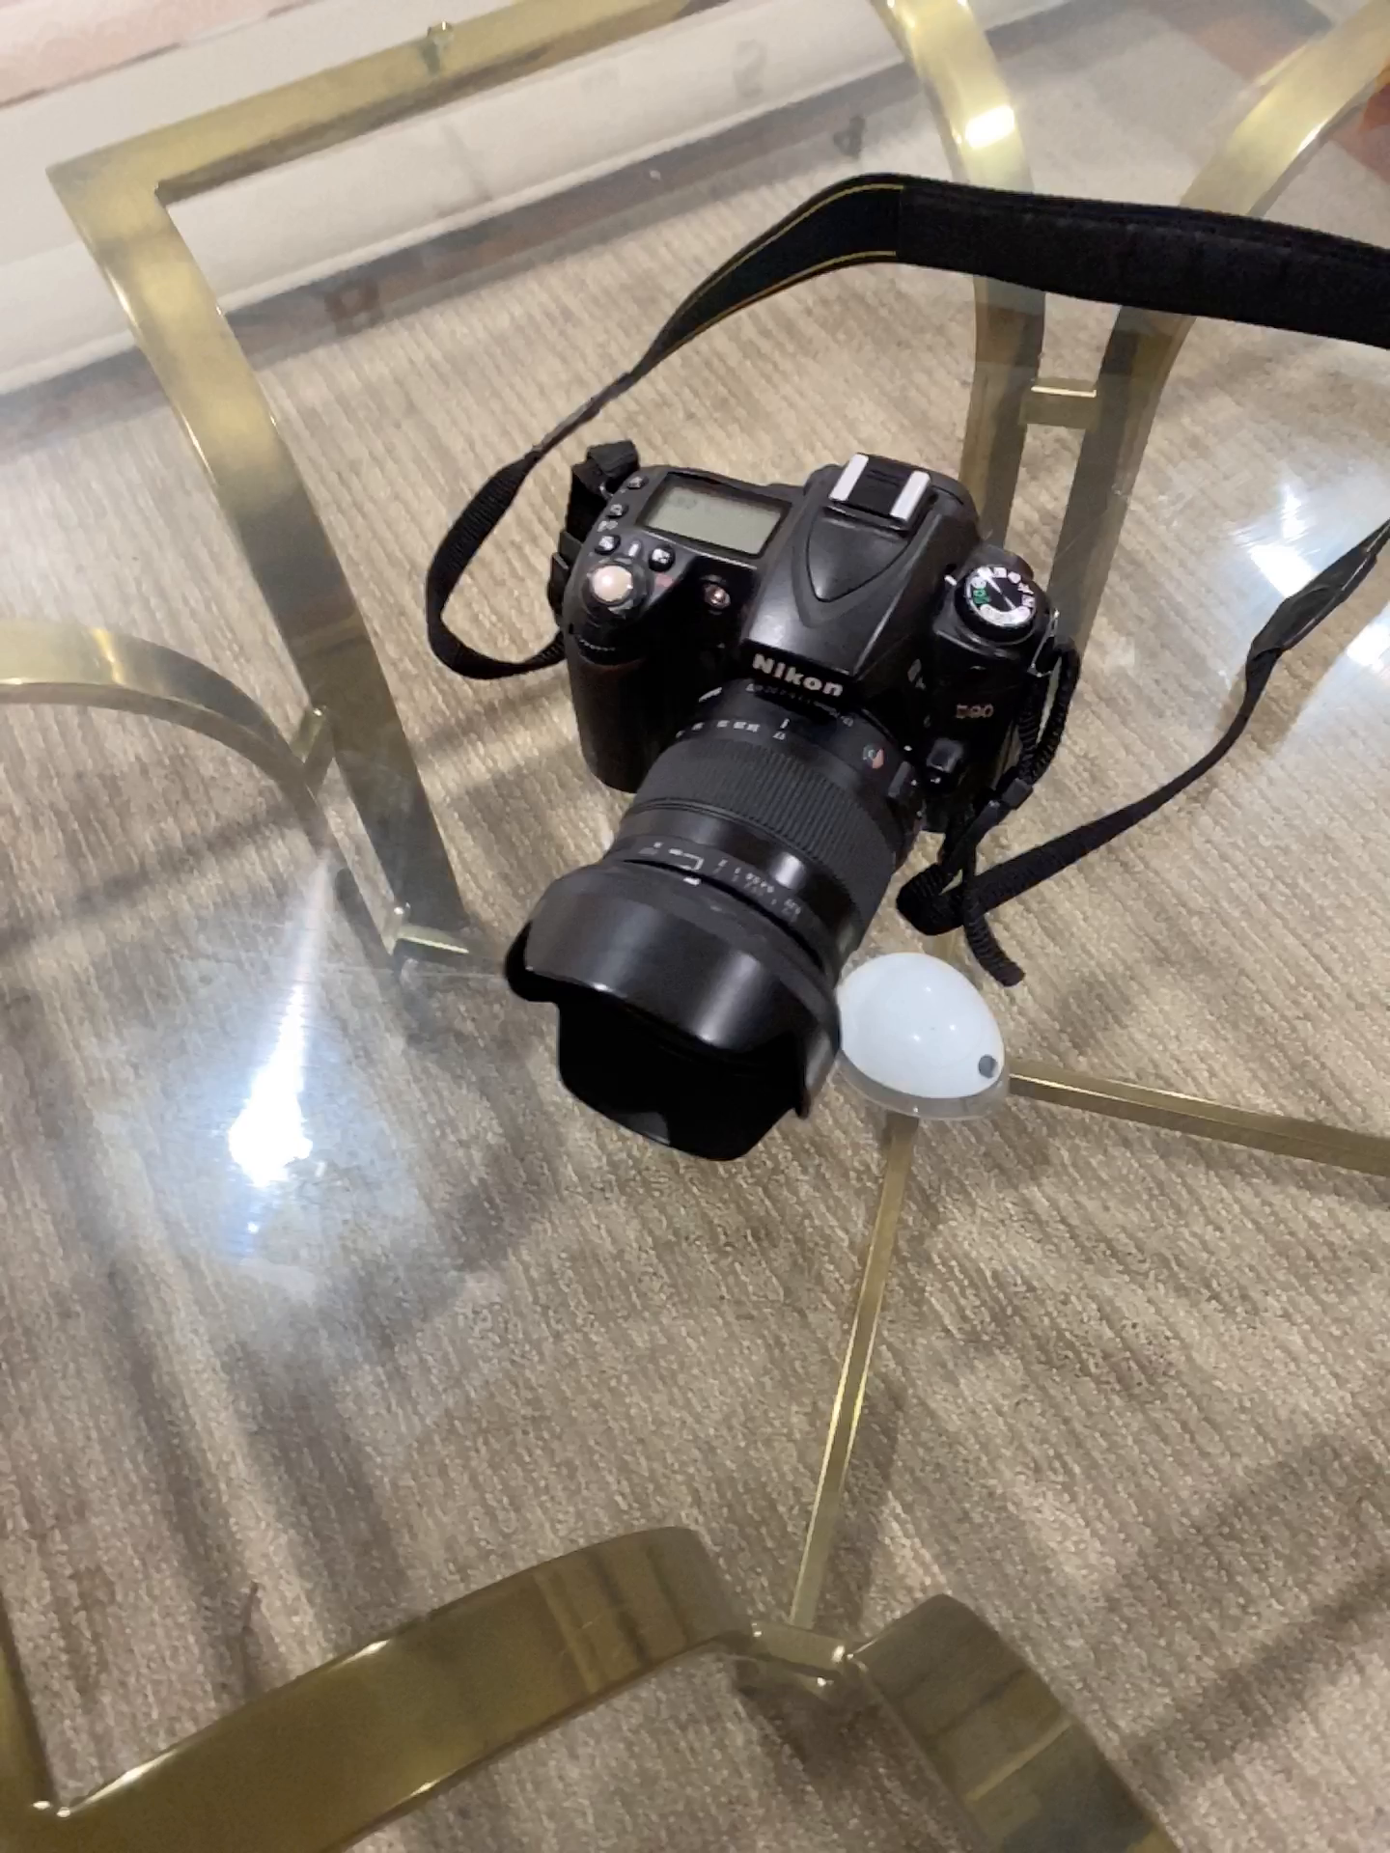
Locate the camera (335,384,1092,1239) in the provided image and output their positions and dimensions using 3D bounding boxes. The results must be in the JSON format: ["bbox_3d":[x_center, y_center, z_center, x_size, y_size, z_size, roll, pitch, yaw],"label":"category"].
[{"bbox_3d":[0.014,-0.035,0.408,0.130,0.120,0.180,20,62,14],"label":"camera"}]
